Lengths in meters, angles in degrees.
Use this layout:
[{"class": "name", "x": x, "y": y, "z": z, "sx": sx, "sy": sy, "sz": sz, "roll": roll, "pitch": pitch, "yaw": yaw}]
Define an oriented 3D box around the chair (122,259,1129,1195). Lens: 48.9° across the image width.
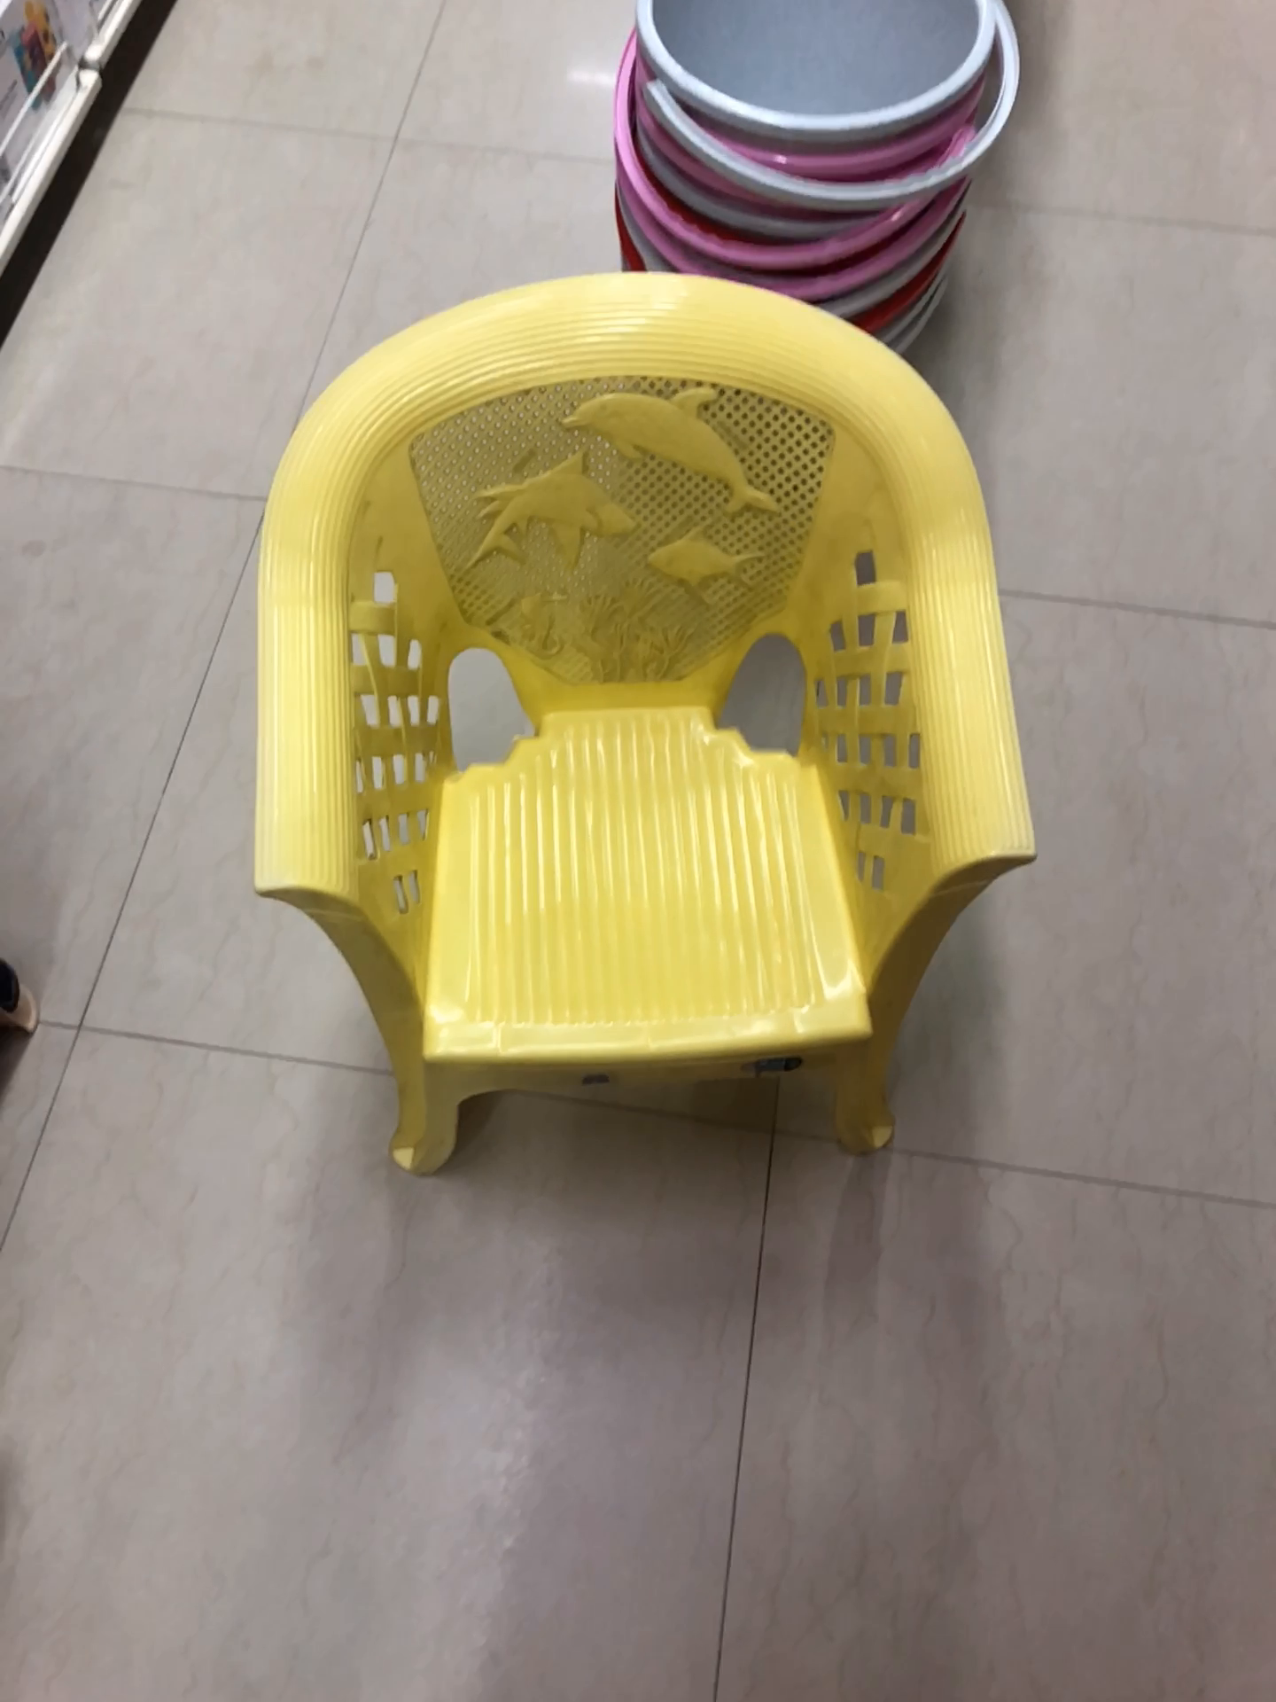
[{"class": "chair", "x": -0.015, "y": -0.063, "z": 0.942, "sx": 0.470, "sy": 0.398, "sz": 0.472, "roll": -2, "pitch": 62, "yaw": -1}]
